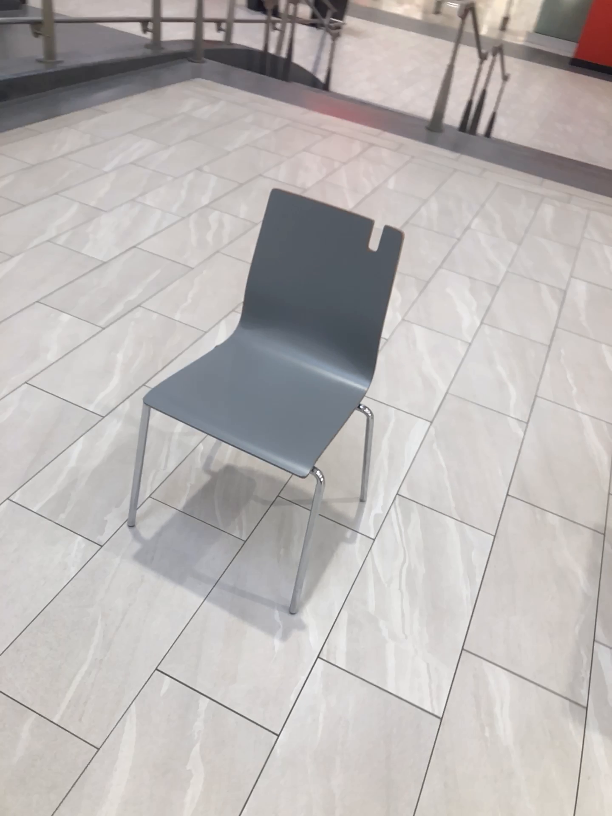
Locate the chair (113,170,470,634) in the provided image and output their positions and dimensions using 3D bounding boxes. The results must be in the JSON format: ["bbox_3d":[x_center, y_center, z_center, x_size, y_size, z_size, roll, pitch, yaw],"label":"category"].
[{"bbox_3d":[-0.058,-0.024,1.556,0.524,0.787,0.518,24,39,16],"label":"chair"}]
